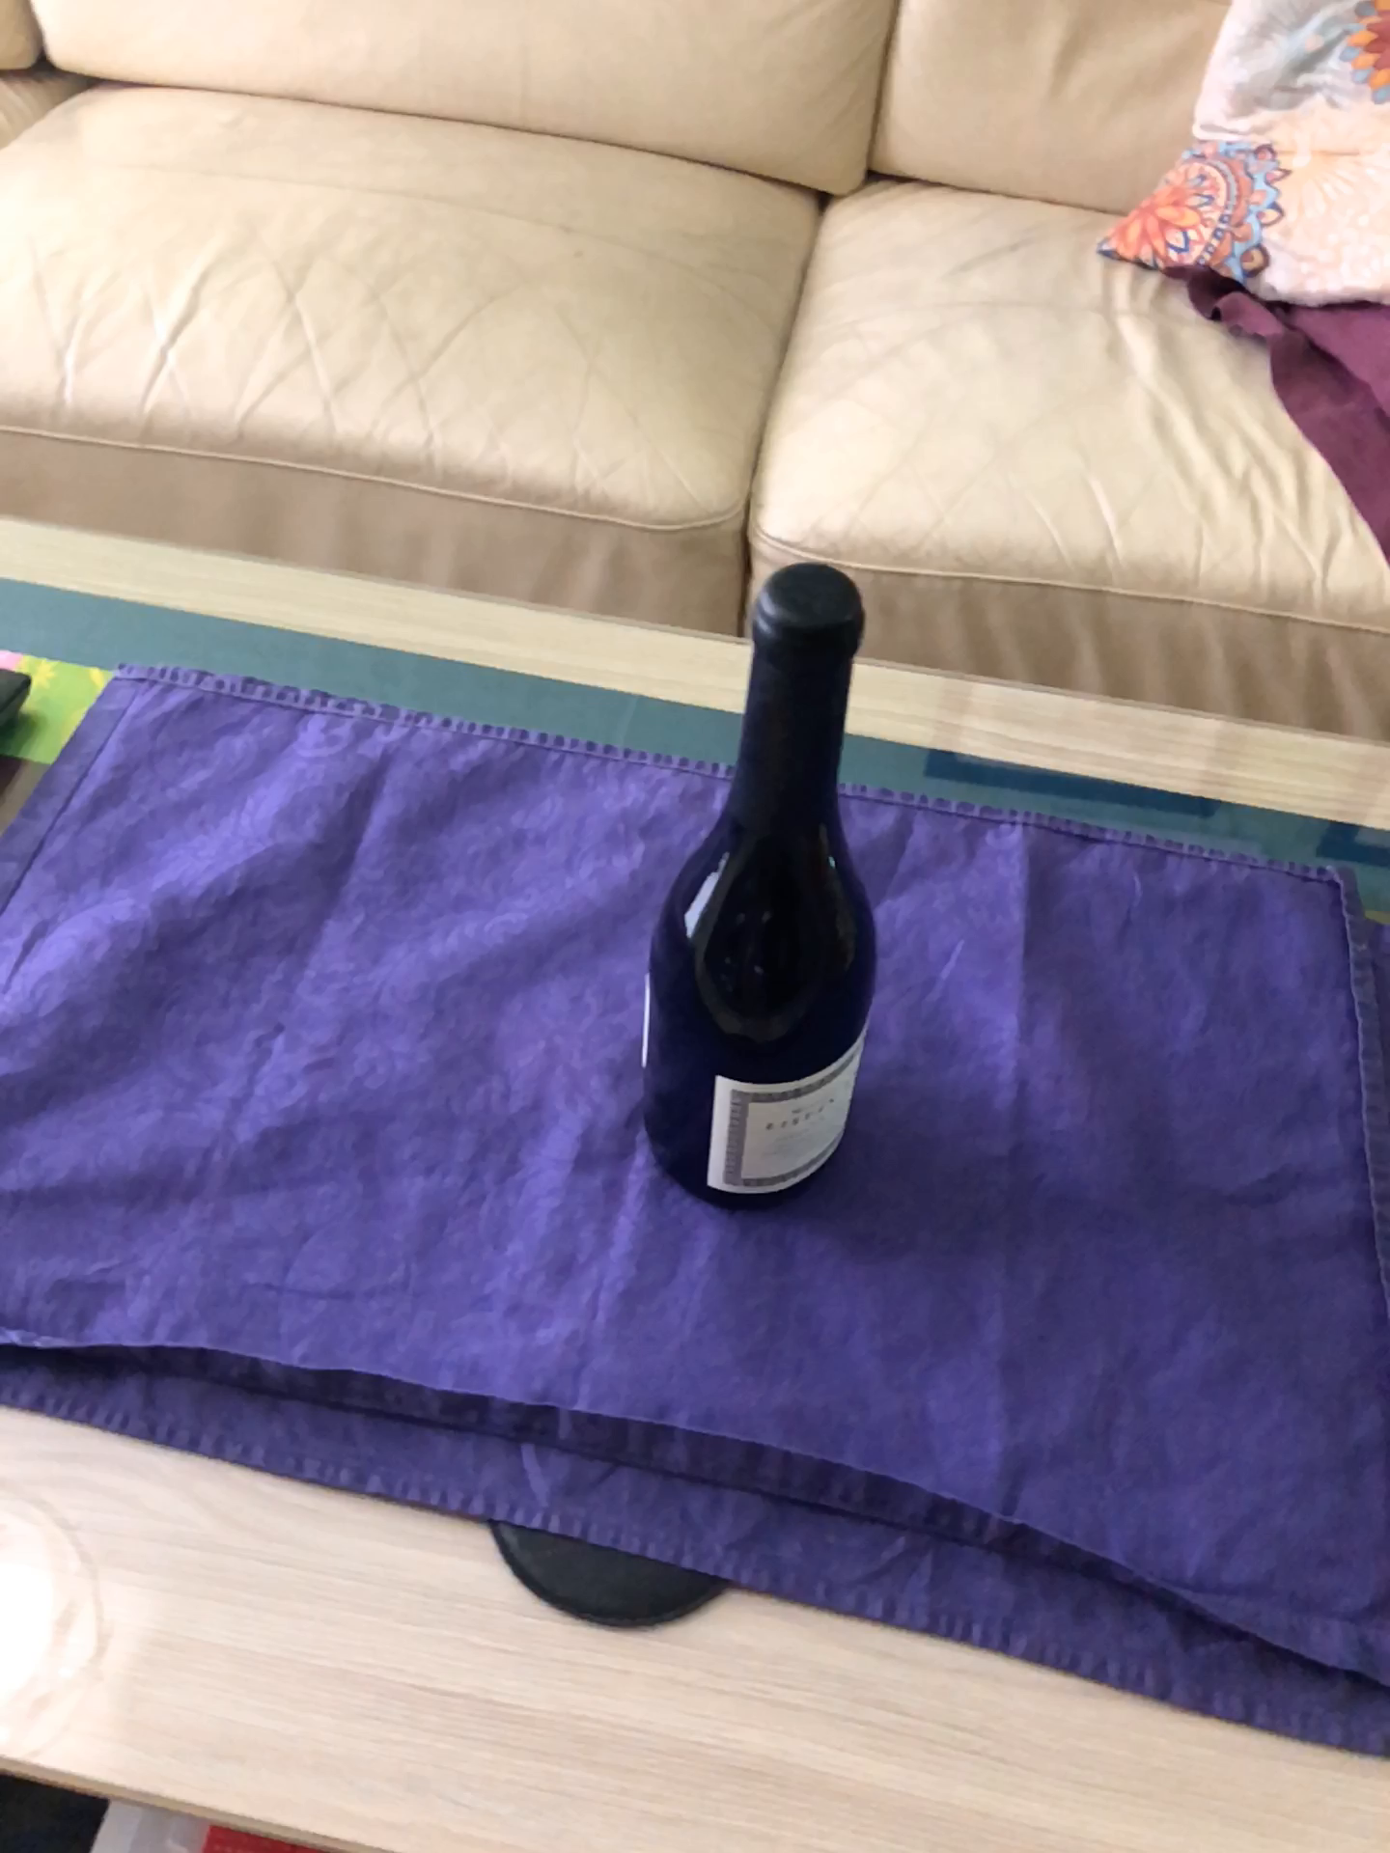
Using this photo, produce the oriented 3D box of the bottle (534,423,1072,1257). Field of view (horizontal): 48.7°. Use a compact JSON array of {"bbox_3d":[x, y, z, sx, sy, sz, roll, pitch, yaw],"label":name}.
[{"bbox_3d":[0.025,-0.014,0.522,0.100,0.259,0.110,38,59,24],"label":"bottle"}]
